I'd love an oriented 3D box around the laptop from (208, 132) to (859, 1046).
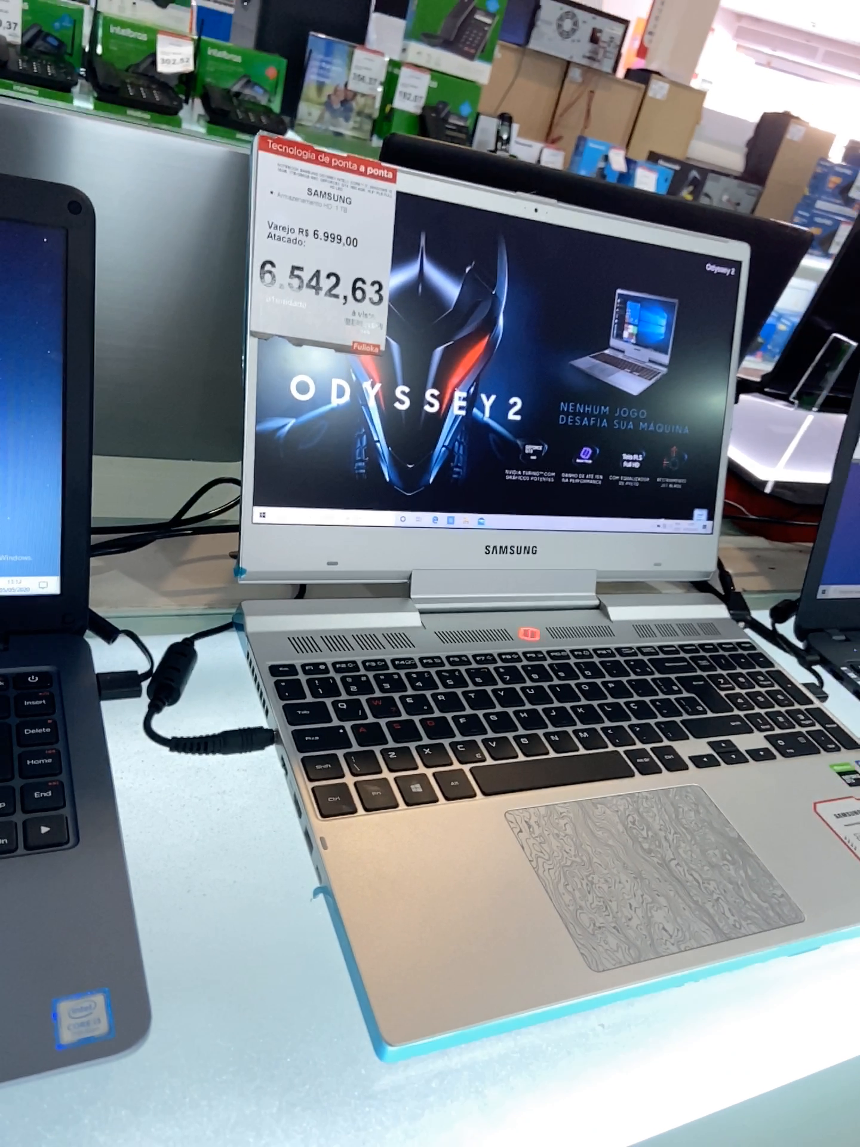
[{"bbox_3d":[0.106,-0.036,0.463,0.354,0.225,0.369,1,33,-26],"label":"laptop"}]
